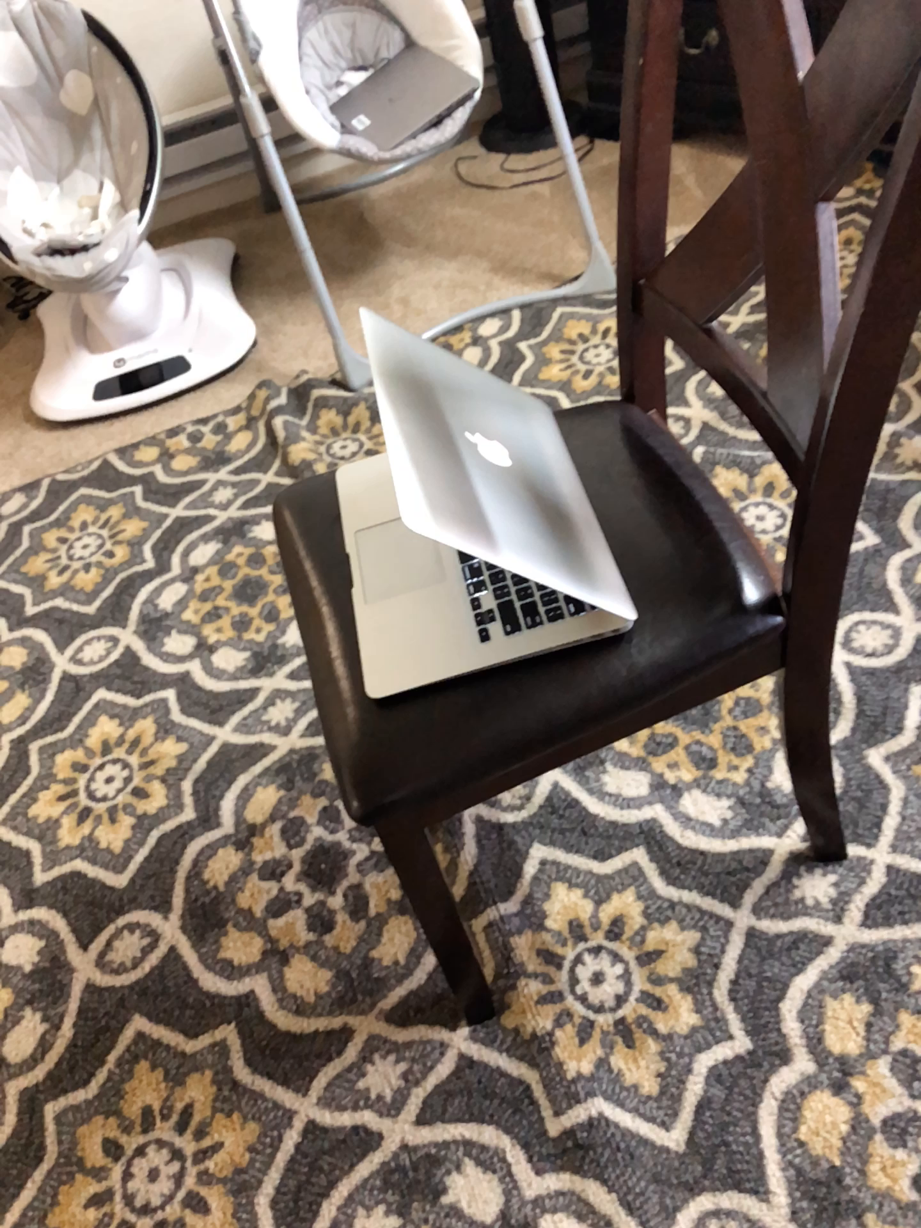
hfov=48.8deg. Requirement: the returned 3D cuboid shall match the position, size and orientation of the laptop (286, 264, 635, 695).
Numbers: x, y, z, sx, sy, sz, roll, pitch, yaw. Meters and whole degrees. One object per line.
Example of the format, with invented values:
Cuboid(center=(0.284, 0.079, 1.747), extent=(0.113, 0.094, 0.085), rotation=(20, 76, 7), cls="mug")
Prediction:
Cuboid(center=(-0.009, -0.121, 0.841), extent=(0.215, 0.154, 0.305), rotation=(-15, 46, 2), cls="laptop")
